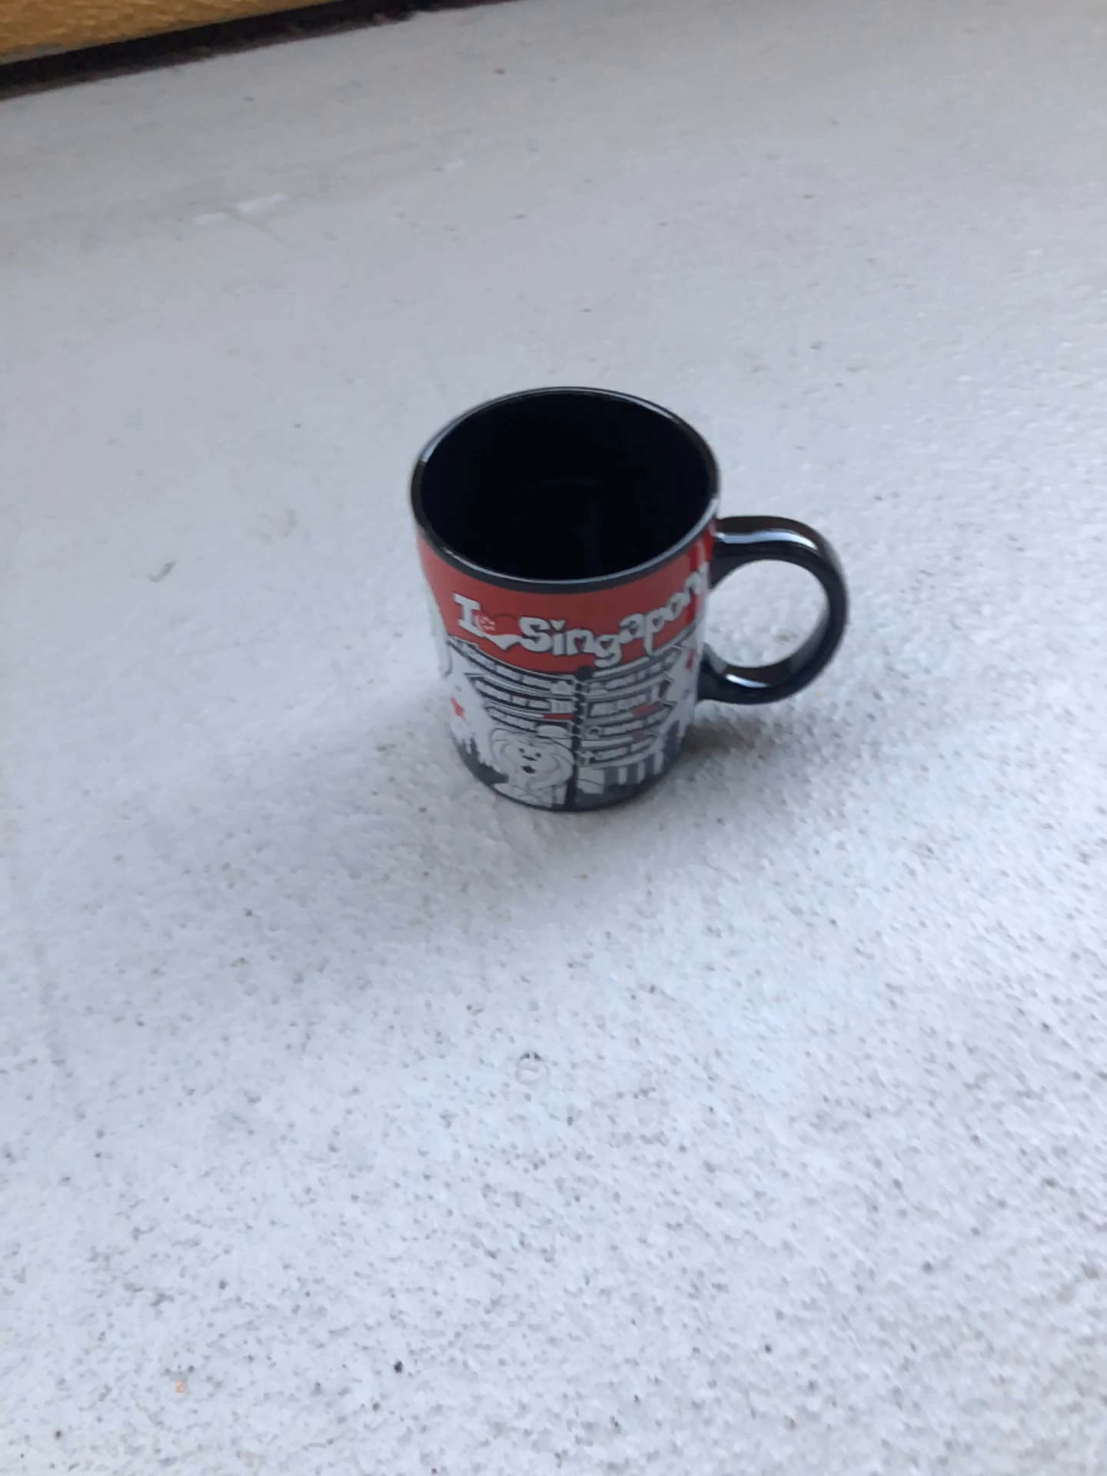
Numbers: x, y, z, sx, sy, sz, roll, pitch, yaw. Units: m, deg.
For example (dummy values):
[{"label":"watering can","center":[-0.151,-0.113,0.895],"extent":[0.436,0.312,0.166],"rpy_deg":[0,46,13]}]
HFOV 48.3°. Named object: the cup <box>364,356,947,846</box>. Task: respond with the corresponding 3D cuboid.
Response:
[{"label":"cup","center":[0.025,-0.035,0.344],"extent":[0.130,0.110,0.080],"rpy_deg":[1,51,2]}]
